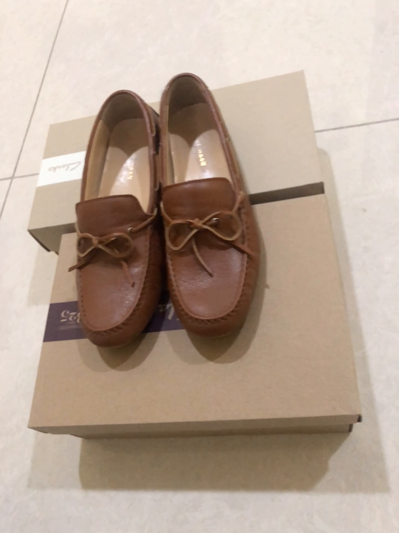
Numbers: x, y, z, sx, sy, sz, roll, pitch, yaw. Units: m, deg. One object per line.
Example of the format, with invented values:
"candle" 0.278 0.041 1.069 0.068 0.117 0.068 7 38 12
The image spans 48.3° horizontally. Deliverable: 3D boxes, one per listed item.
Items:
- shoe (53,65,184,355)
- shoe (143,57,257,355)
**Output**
"shoe" -0.071 -0.059 0.451 0.080 0.080 0.280 -4 68 13
"shoe" -0.003 -0.064 0.442 0.080 0.080 0.280 -8 67 11
